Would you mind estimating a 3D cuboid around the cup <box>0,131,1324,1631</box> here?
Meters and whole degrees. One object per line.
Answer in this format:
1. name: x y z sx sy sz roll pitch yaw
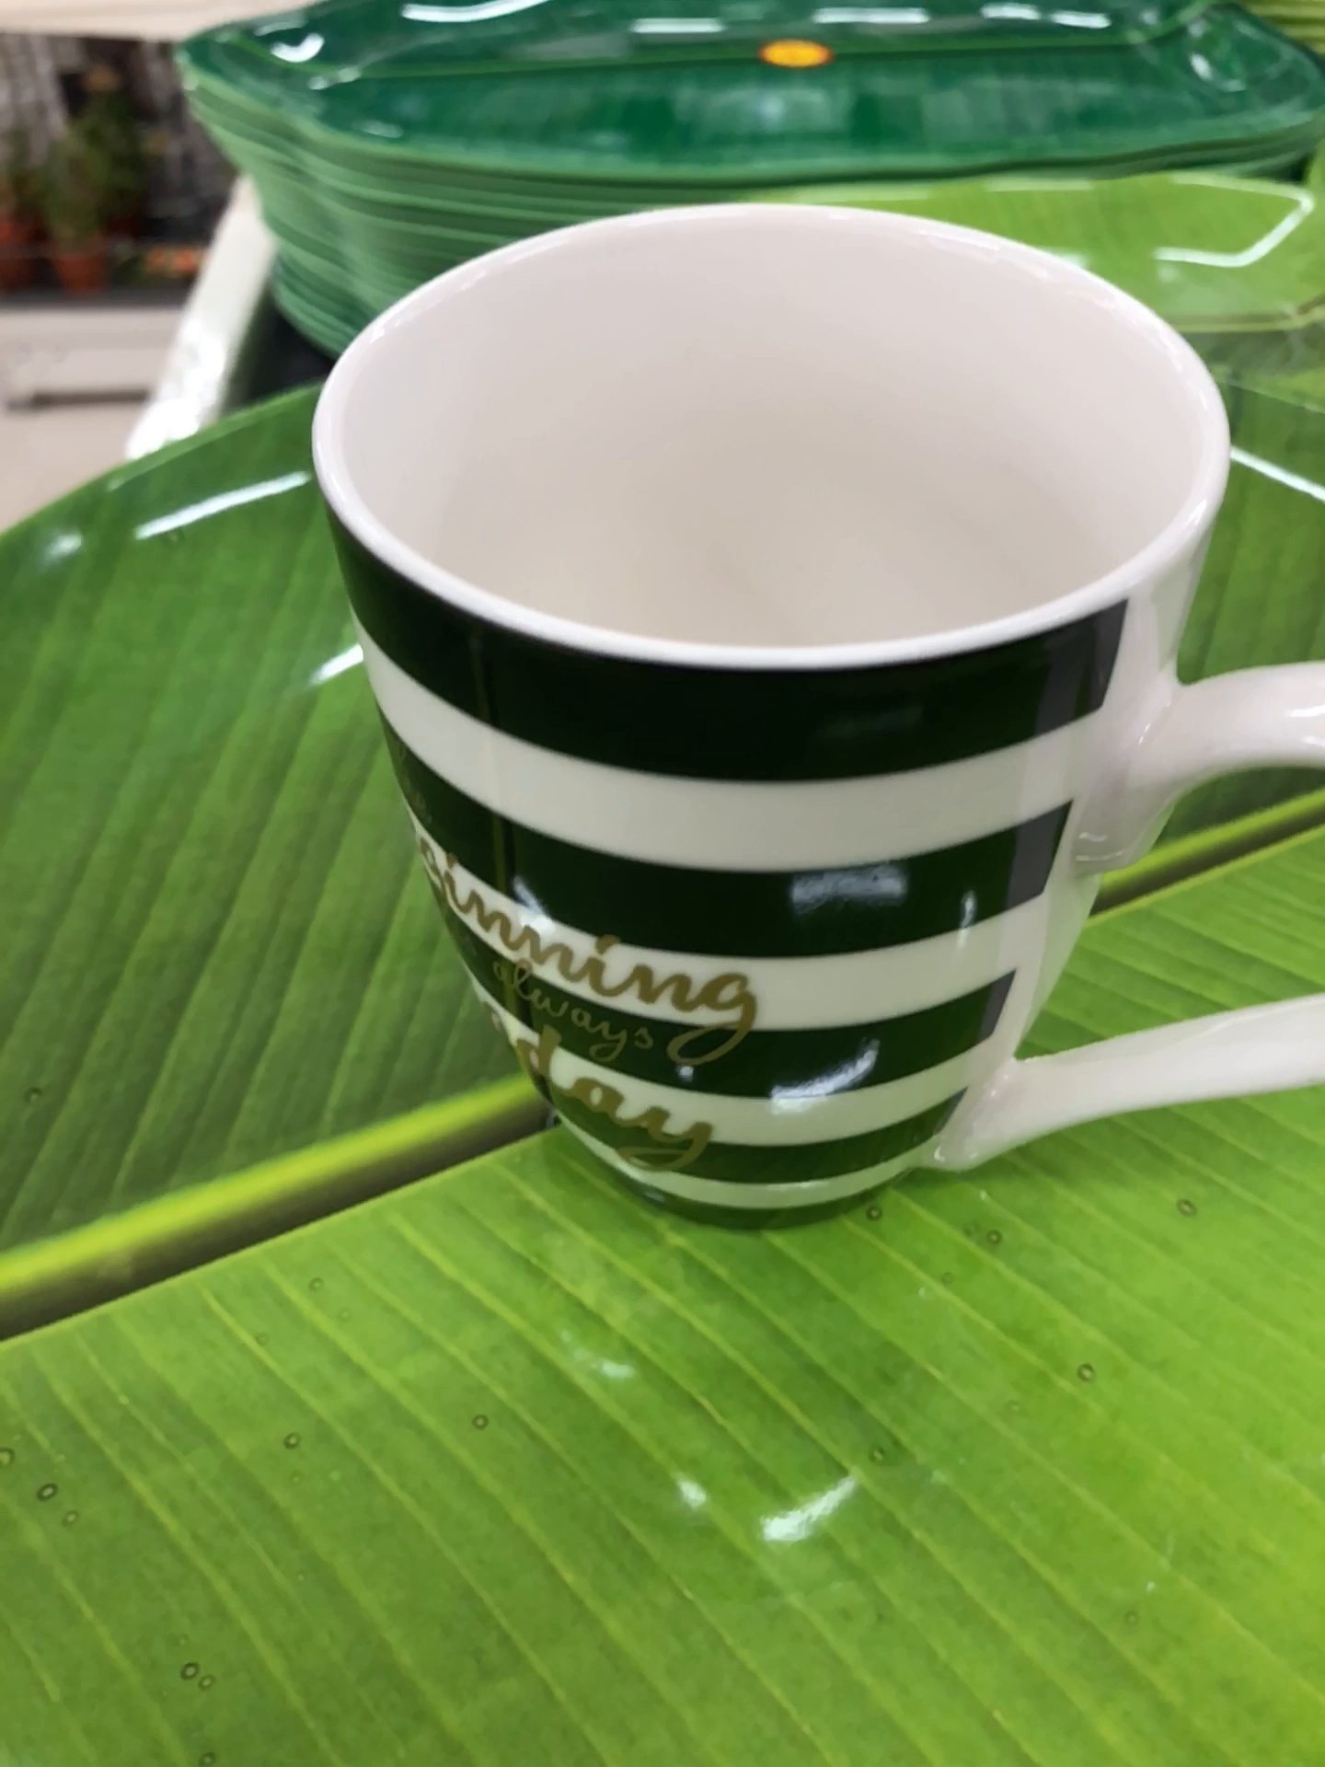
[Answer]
1. cup: 0.022 -0.011 0.150 0.130 0.080 0.080 22 48 22
